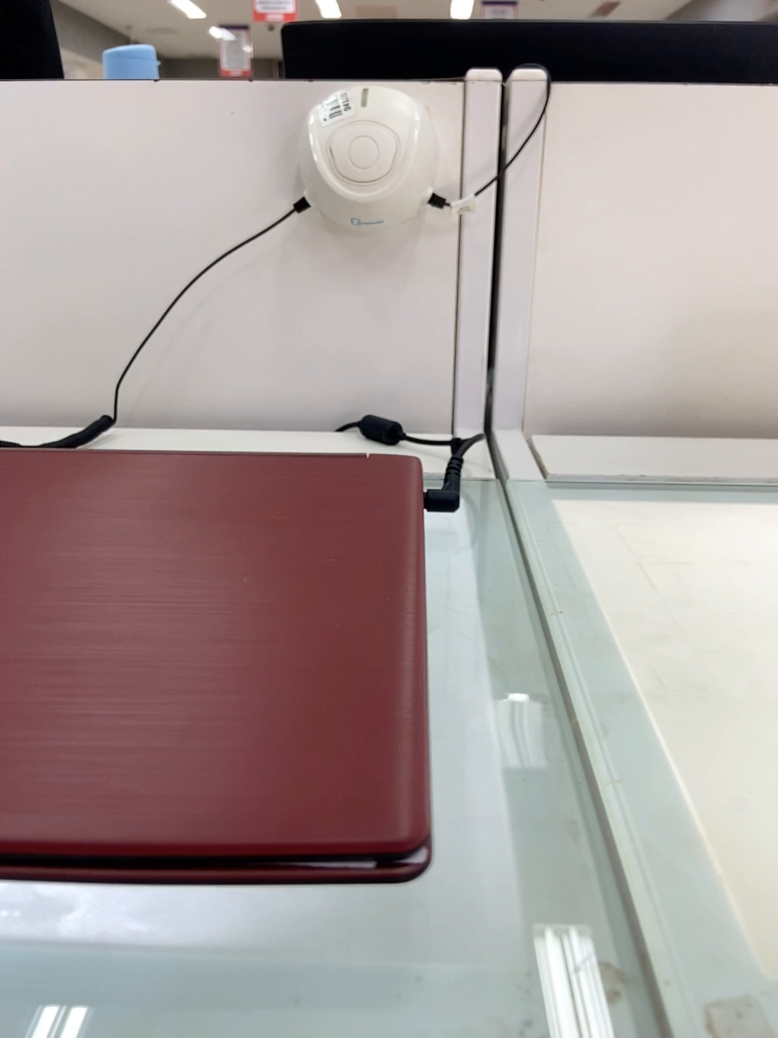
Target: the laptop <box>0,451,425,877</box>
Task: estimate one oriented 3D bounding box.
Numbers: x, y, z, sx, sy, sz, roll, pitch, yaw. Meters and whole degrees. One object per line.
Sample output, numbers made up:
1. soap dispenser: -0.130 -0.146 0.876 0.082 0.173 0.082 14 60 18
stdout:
1. laptop: -0.172 0.018 0.285 0.367 0.006 0.263 1 20 2
